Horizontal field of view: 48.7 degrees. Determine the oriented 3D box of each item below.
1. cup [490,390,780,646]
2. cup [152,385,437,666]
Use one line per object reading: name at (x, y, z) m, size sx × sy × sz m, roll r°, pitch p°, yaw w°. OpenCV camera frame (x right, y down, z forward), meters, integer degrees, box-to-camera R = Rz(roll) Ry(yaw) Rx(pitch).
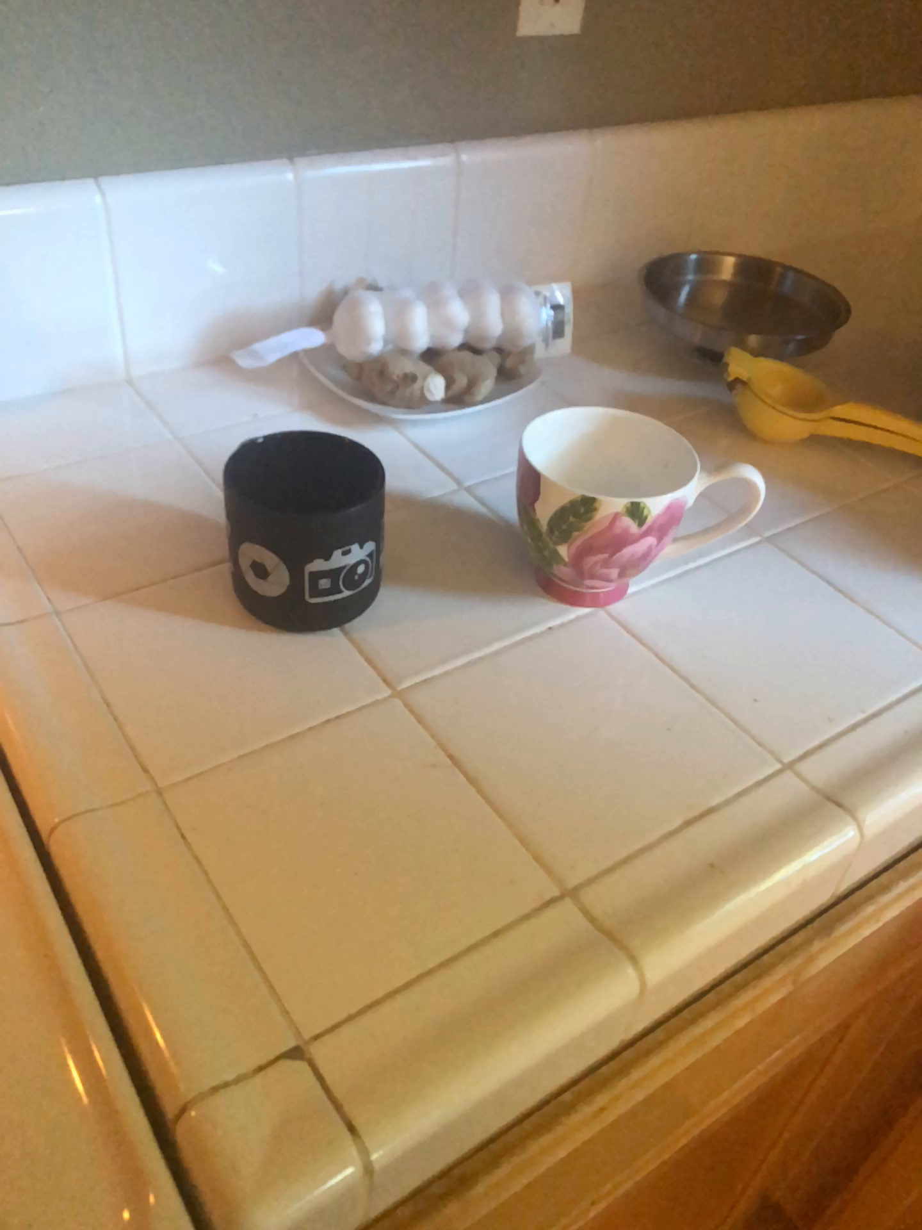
cup at (0.105, -0.061, 0.623) m, size 0.150 × 0.089 × 0.101 m, roll 11°, pitch 40°, yaw 5°
cup at (-0.099, -0.058, 0.601) m, size 0.101 × 0.079 × 0.140 m, roll -25°, pitch 49°, yaw -32°
